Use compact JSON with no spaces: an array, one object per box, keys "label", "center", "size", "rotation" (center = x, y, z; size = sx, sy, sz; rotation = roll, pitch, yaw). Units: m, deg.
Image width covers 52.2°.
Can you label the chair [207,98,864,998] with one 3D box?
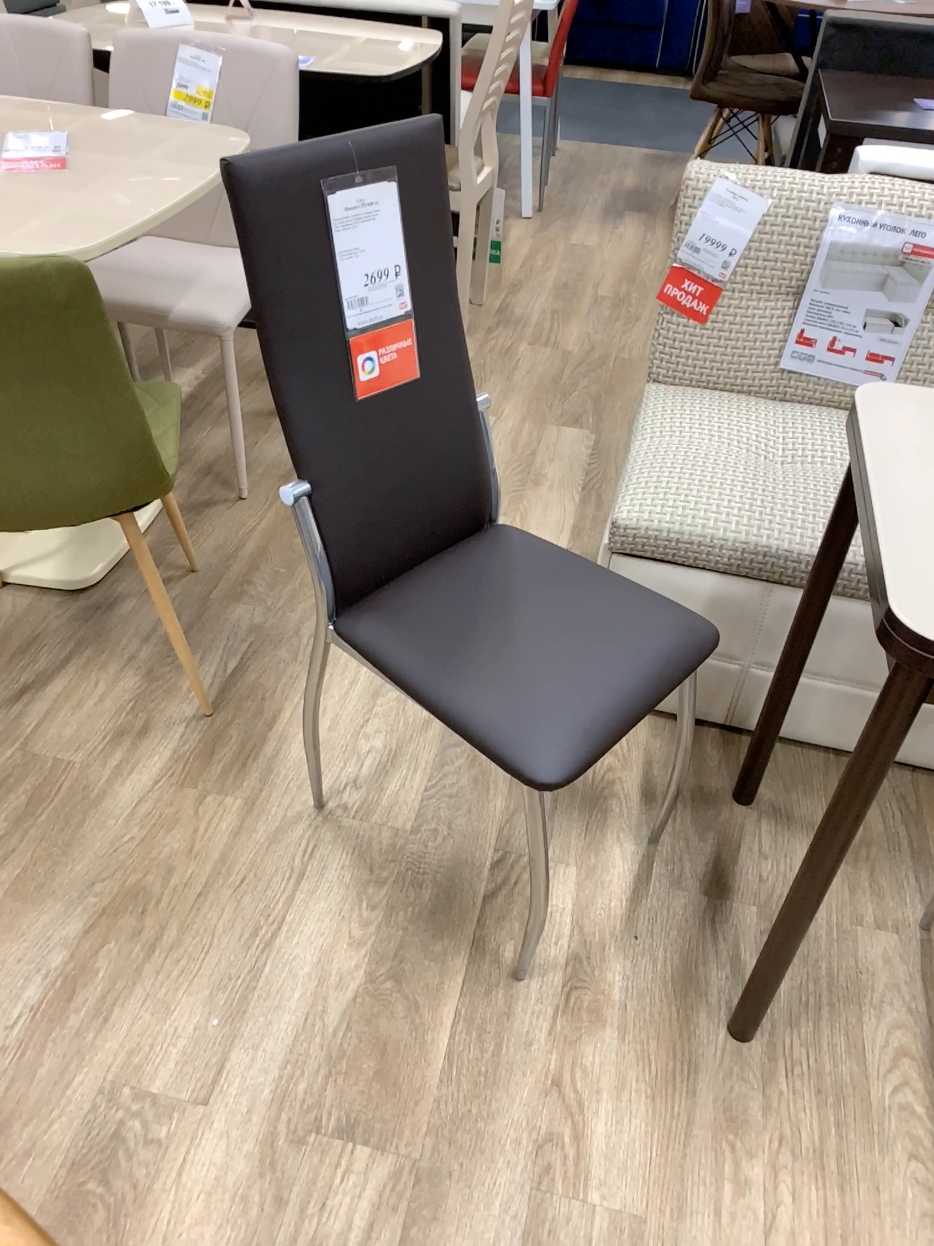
[{"label":"chair","center":[0.043,-0.065,1.265],"size":[0.501,0.994,0.422],"rotation":[33,49,31]}]
